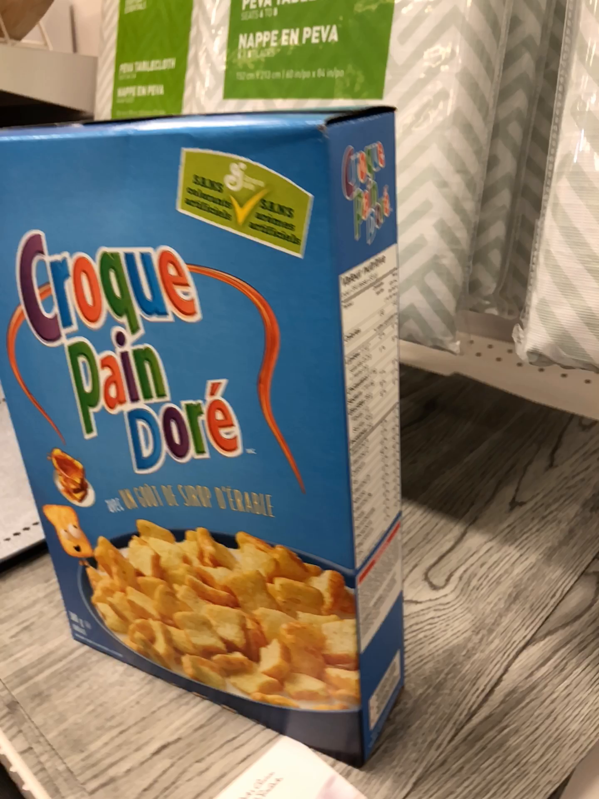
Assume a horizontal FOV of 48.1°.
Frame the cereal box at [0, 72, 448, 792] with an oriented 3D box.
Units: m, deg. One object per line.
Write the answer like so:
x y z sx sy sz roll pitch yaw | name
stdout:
-0.046 0.016 0.302 0.210 0.279 0.050 10 28 29 | cereal box
